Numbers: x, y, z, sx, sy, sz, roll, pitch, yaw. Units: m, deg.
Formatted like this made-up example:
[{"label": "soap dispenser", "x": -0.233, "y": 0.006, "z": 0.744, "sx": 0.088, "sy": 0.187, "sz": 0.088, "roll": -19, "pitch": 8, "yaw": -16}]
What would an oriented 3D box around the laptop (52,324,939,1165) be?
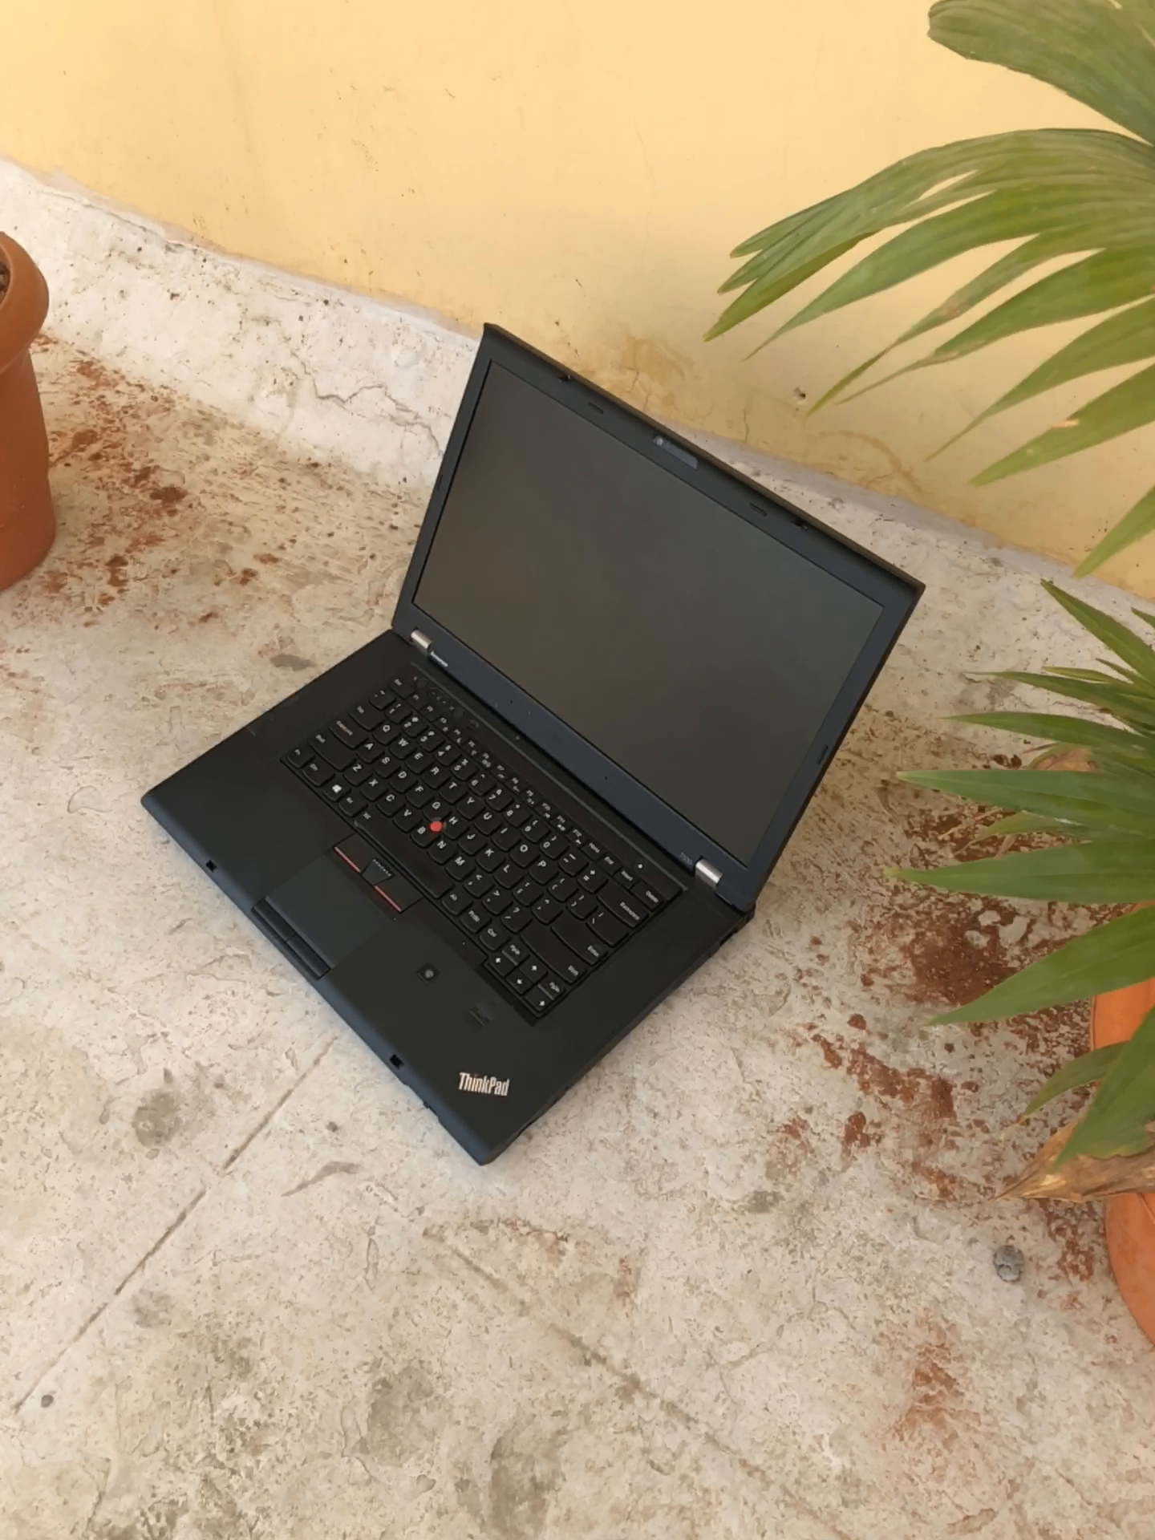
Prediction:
[{"label": "laptop", "x": -0.050, "y": -0.040, "z": 0.800, "sx": 0.352, "sy": 0.208, "sz": 0.361, "roll": -38, "pitch": 60, "yaw": -23}]
